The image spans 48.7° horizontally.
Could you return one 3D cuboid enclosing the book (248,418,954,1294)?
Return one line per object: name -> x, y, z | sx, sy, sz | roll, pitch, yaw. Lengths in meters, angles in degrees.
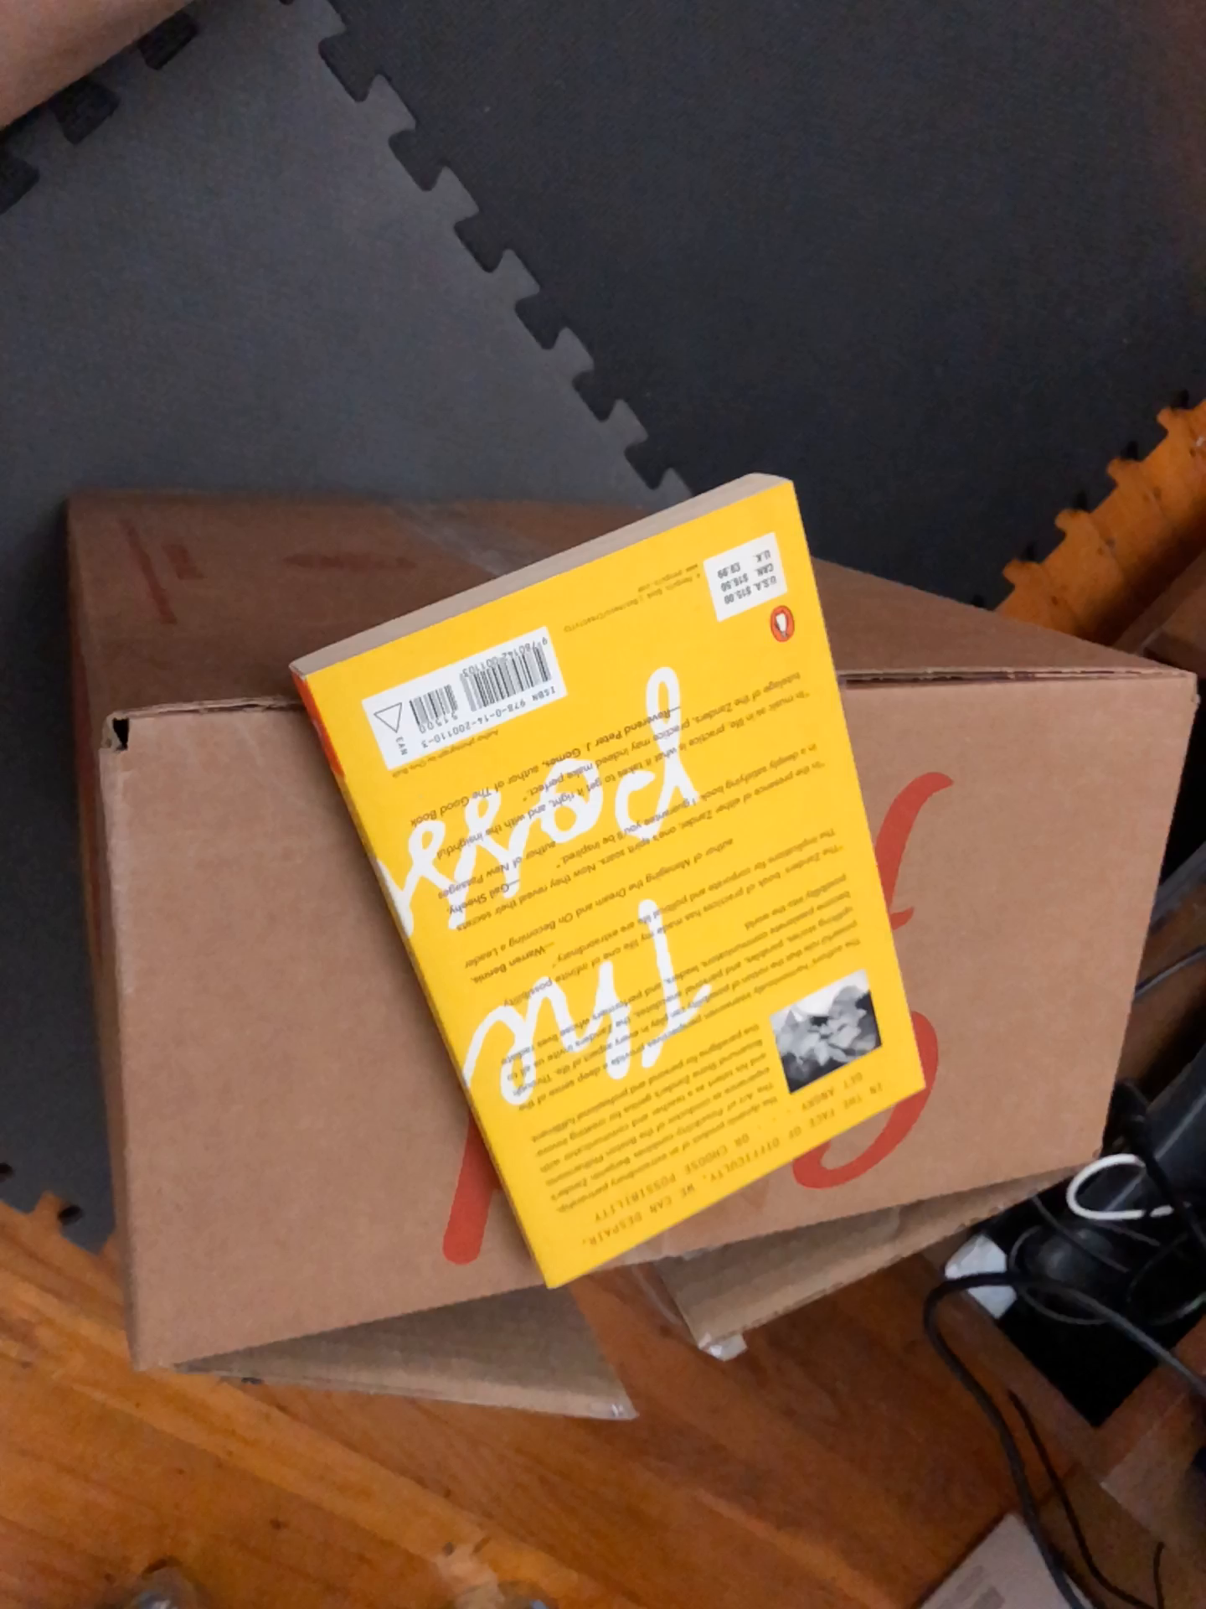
book -> 0.014, 0.020, 0.374 | 0.150, 0.020, 0.210 | -24, 116, -14
